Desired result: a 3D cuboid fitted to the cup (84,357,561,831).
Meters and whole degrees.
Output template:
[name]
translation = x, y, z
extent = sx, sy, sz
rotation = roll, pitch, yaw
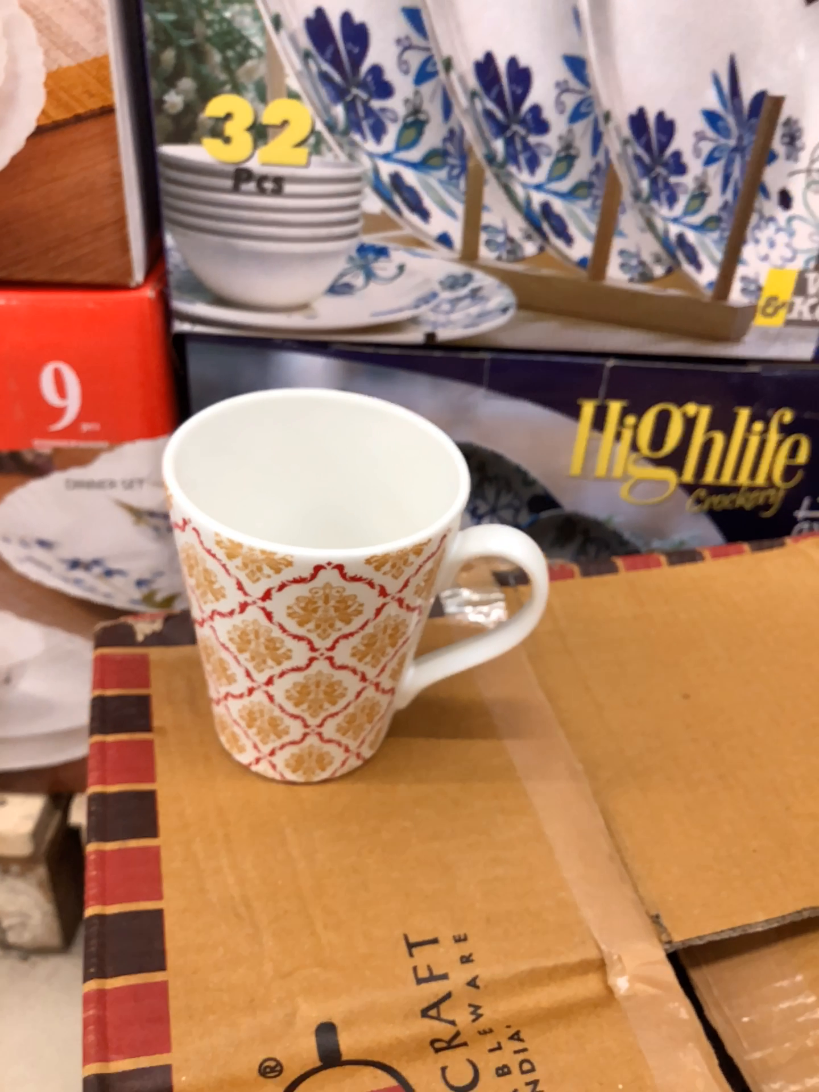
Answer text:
[cup]
translation = -0.018, 0.010, 0.273
extent = 0.110, 0.089, 0.091
rotation = 8, 35, 5
